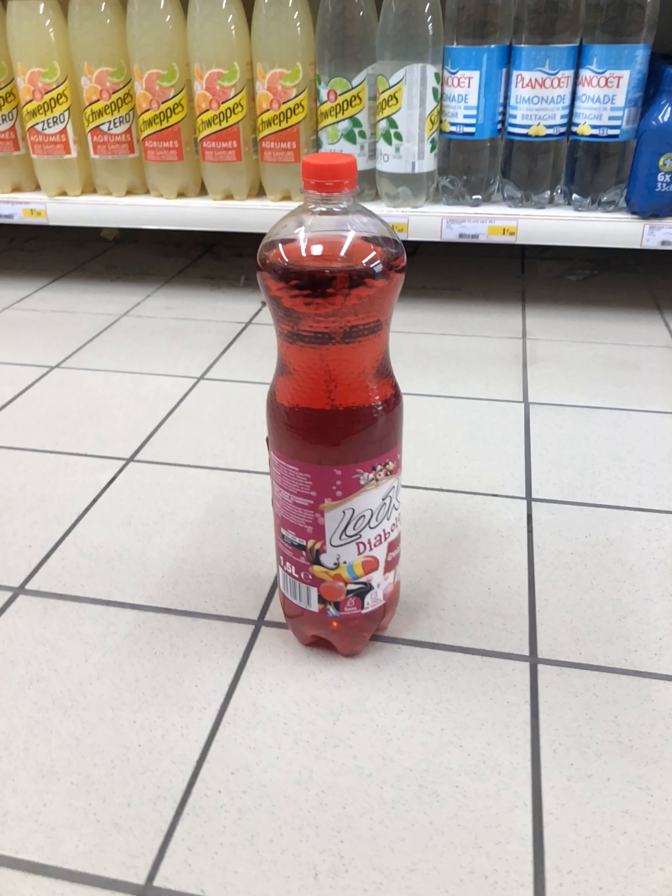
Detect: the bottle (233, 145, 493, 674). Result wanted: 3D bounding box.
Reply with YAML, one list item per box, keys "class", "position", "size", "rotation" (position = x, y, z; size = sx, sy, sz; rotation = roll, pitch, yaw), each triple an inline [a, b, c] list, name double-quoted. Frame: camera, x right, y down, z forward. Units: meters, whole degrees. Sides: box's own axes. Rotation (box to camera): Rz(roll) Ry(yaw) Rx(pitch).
- class: "bottle"
  position: [0.016, -0.020, 0.475]
  size: [0.100, 0.308, 0.100]
  rotation: [-1, 29, 0]
